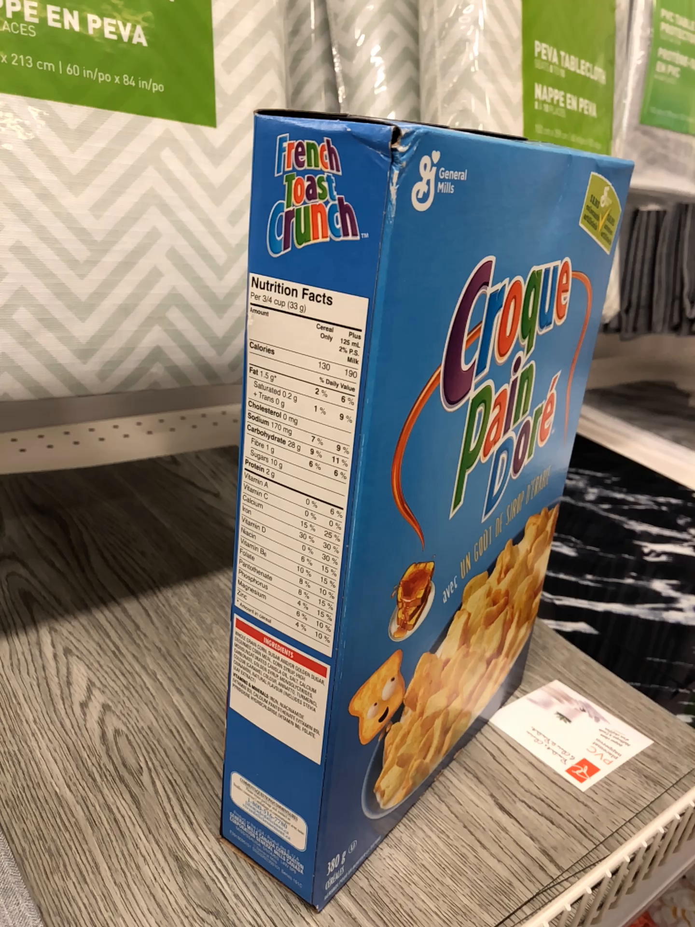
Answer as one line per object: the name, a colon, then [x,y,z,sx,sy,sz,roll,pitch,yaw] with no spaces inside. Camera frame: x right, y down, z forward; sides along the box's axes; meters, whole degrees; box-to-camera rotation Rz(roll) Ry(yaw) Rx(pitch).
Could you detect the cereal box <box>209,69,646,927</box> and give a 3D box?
cereal box: [0.039,0.006,0.325,0.050,0.279,0.210,18,24,31]
